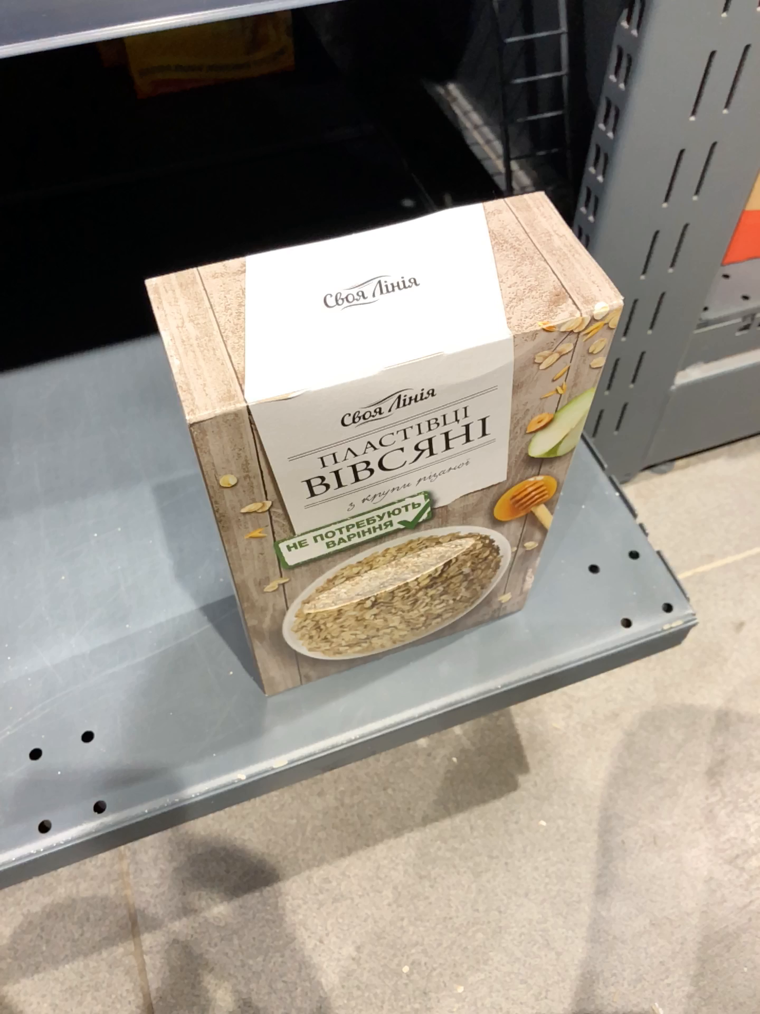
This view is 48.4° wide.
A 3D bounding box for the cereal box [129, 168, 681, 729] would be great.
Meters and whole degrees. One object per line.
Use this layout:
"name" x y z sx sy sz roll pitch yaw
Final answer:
"cereal box" 0.004 -0.004 0.348 0.150 0.229 0.070 -16 58 -12
